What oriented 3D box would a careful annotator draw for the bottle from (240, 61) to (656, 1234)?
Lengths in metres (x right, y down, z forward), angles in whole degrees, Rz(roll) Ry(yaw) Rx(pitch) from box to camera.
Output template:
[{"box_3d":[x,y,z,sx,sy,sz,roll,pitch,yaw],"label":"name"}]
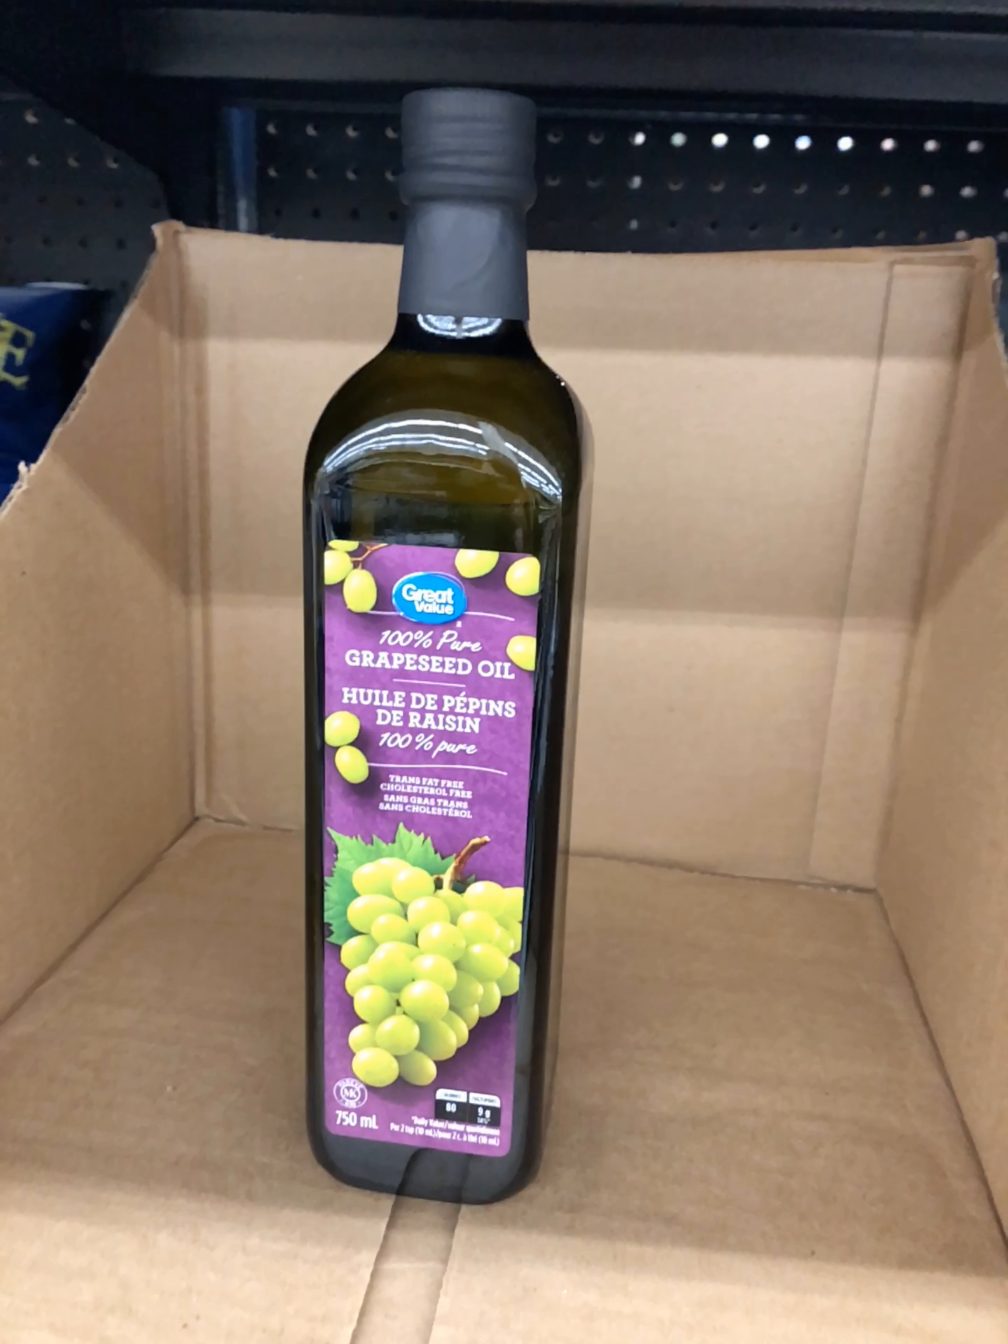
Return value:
[{"box_3d":[-0.013,0.005,0.287,0.080,0.278,0.060,5,19,7],"label":"bottle"}]
